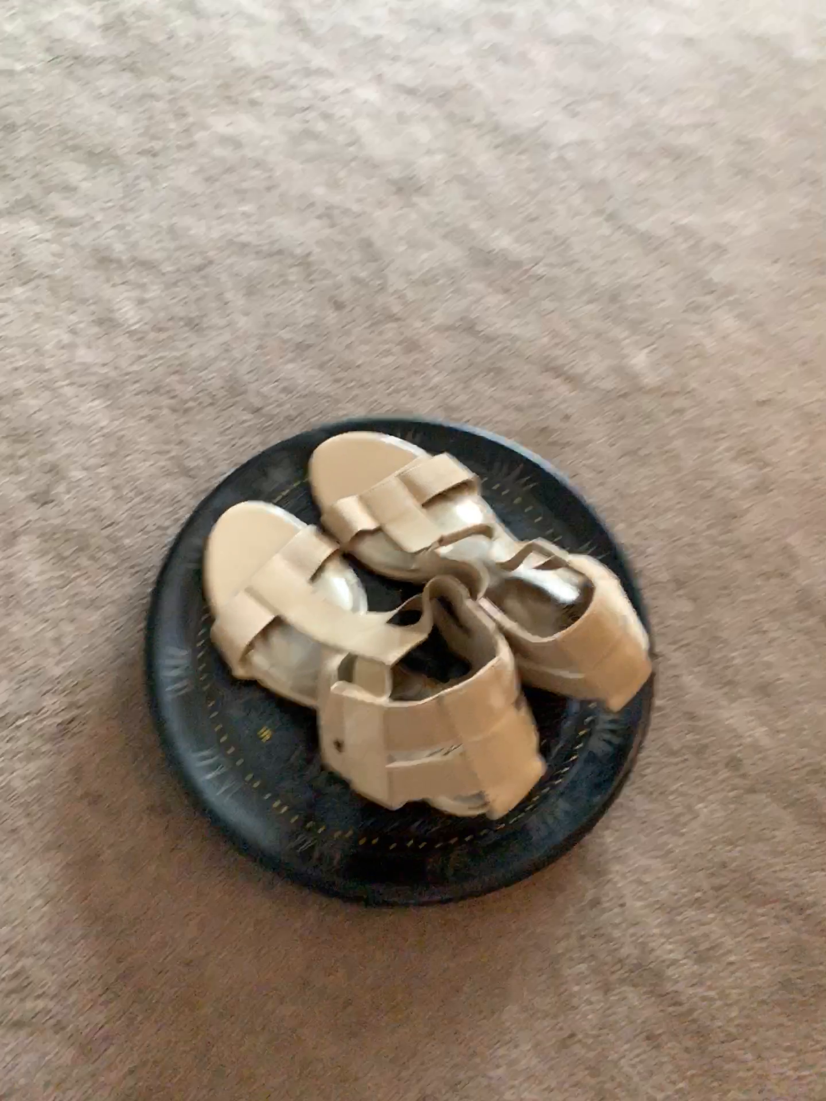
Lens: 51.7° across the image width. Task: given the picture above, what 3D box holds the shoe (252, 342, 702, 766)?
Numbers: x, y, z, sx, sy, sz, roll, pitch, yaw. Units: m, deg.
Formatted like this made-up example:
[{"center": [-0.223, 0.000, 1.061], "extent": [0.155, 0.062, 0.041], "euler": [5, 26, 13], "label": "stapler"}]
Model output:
[{"center": [0.031, -0.005, 0.481], "extent": [0.100, 0.090, 0.231], "euler": [-44, 61, -13], "label": "shoe"}]

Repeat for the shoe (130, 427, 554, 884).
[{"center": [-0.040, 0.046, 0.447], "extent": [0.090, 0.089, 0.221], "euler": [-37, 59, -19], "label": "shoe"}]
